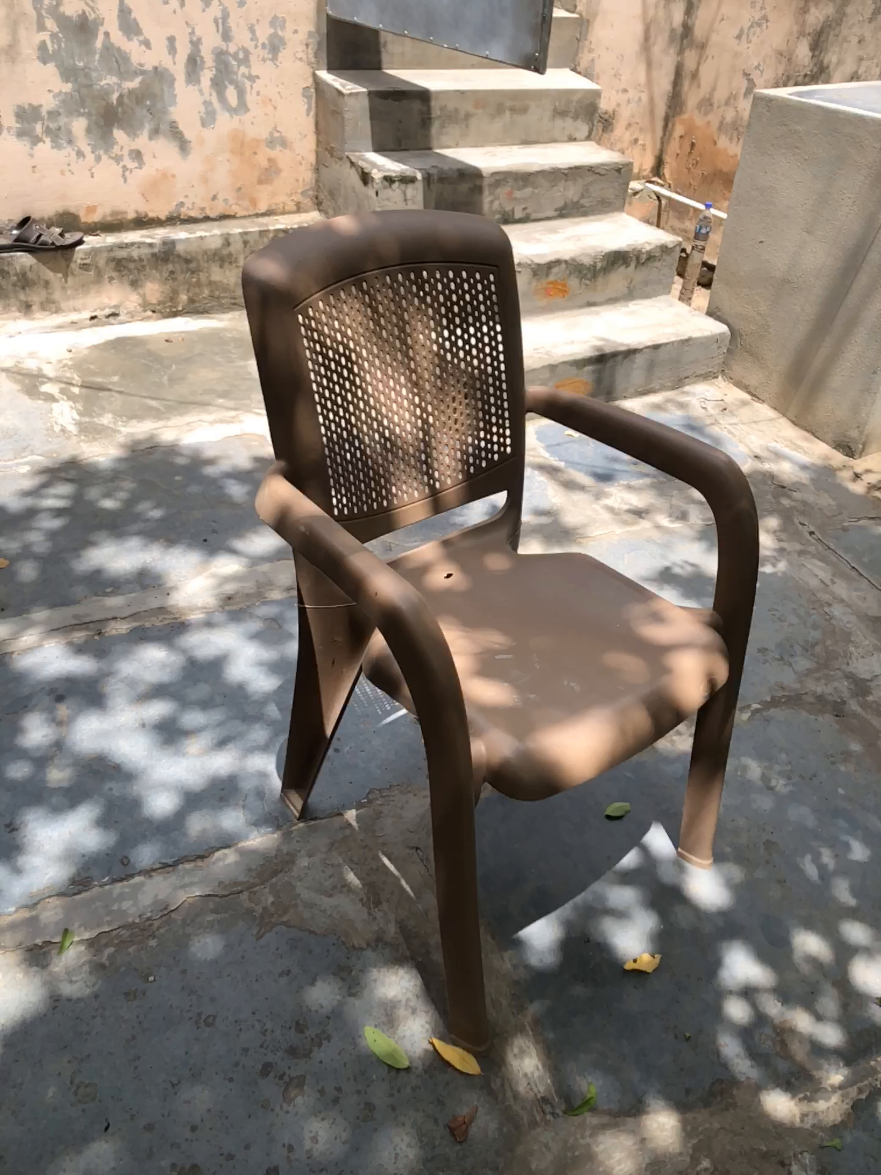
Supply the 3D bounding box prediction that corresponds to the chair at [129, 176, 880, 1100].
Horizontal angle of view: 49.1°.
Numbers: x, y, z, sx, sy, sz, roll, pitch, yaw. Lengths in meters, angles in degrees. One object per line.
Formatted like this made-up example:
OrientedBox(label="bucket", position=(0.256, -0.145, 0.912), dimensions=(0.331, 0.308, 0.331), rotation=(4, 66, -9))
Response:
OrientedBox(label="chair", position=(0.083, 0.005, 1.281), dimensions=(0.633, 0.825, 0.681), rotation=(-23, 44, -32))
